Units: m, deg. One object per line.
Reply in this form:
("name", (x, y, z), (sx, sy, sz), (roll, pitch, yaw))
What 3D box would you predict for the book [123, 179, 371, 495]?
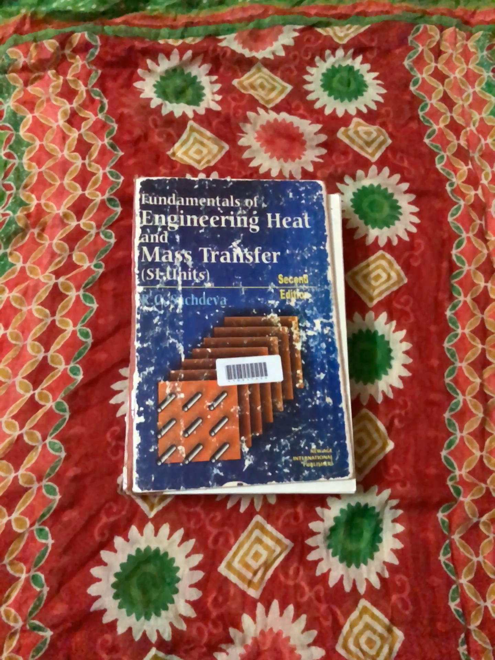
("book", (-0.001, 0.004, 0.379), (0.150, 0.043, 0.209), (1, 75, -5))
